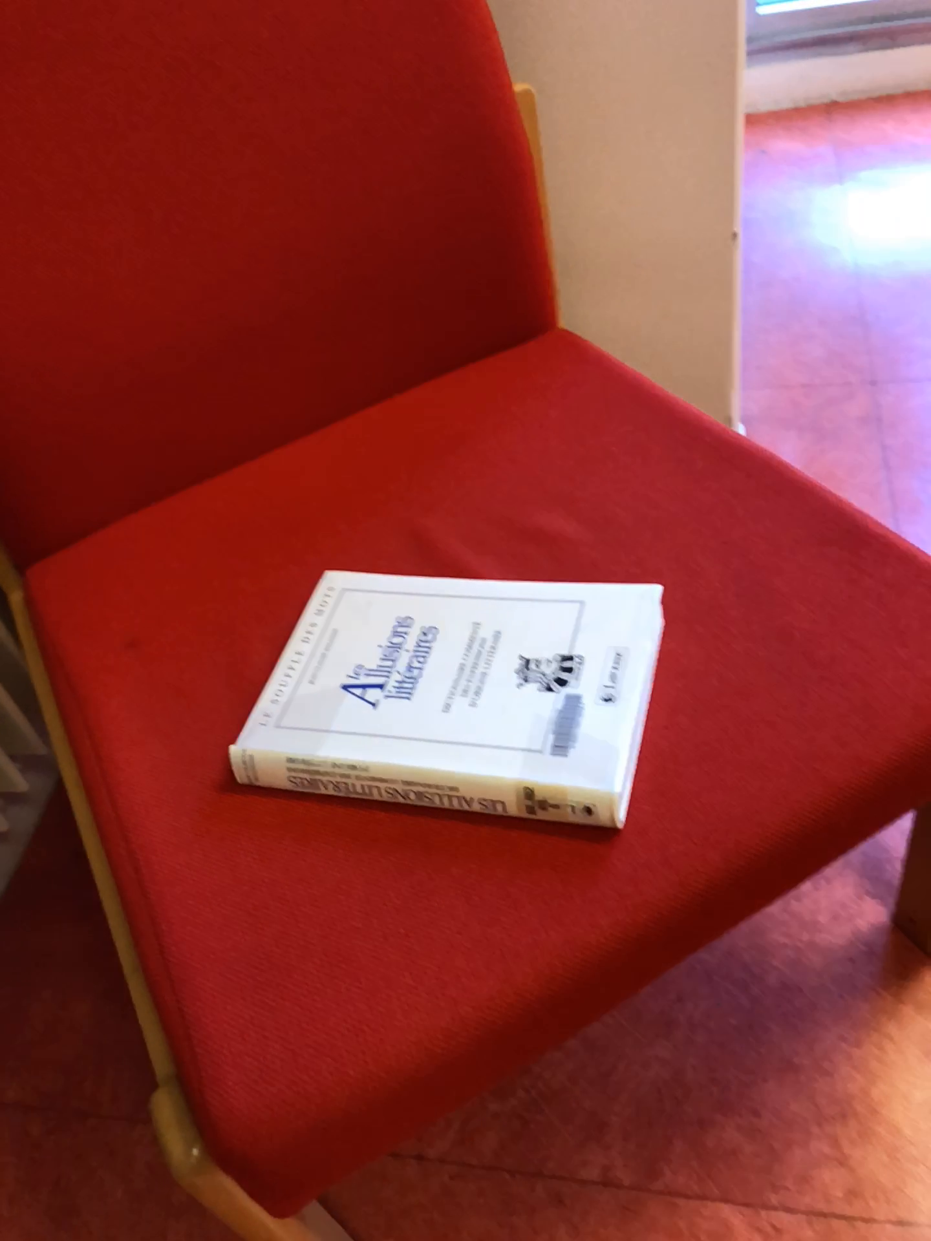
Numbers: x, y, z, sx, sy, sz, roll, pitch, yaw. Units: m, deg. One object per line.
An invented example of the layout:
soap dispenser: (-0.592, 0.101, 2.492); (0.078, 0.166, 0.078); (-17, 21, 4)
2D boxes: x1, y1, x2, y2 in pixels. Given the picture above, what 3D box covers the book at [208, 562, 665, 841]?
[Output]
book: (-0.010, 0.035, 0.563); (0.217, 0.030, 0.151); (4, 47, 18)
